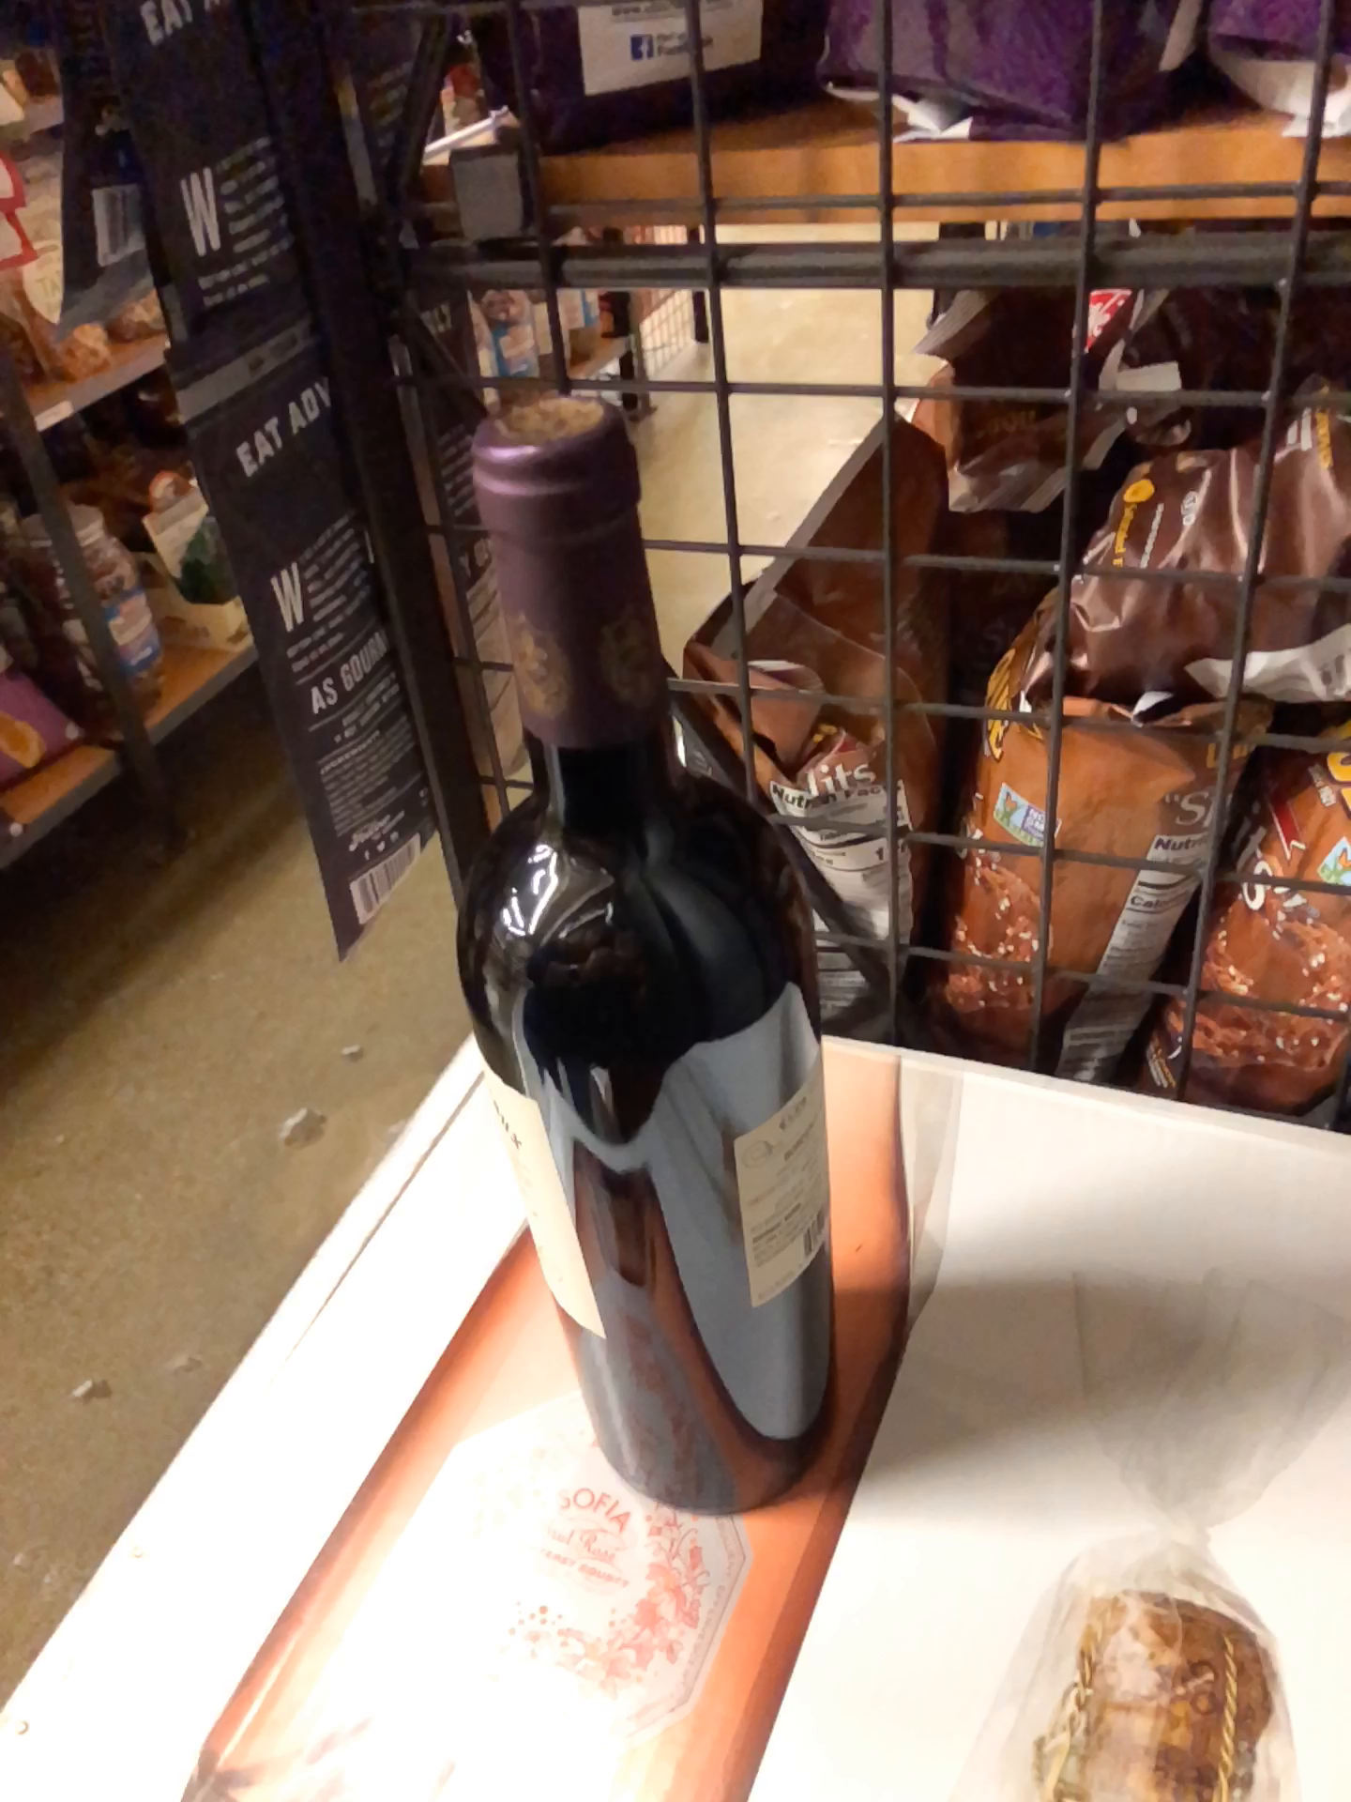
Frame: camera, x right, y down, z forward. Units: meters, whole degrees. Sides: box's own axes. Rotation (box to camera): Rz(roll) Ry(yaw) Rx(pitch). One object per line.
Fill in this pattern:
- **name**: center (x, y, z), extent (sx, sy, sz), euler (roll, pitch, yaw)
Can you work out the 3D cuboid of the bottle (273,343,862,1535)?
- **bottle**: center (-0.004, 0.031, 0.350), extent (0.085, 0.290, 0.073), euler (1, 37, 11)
